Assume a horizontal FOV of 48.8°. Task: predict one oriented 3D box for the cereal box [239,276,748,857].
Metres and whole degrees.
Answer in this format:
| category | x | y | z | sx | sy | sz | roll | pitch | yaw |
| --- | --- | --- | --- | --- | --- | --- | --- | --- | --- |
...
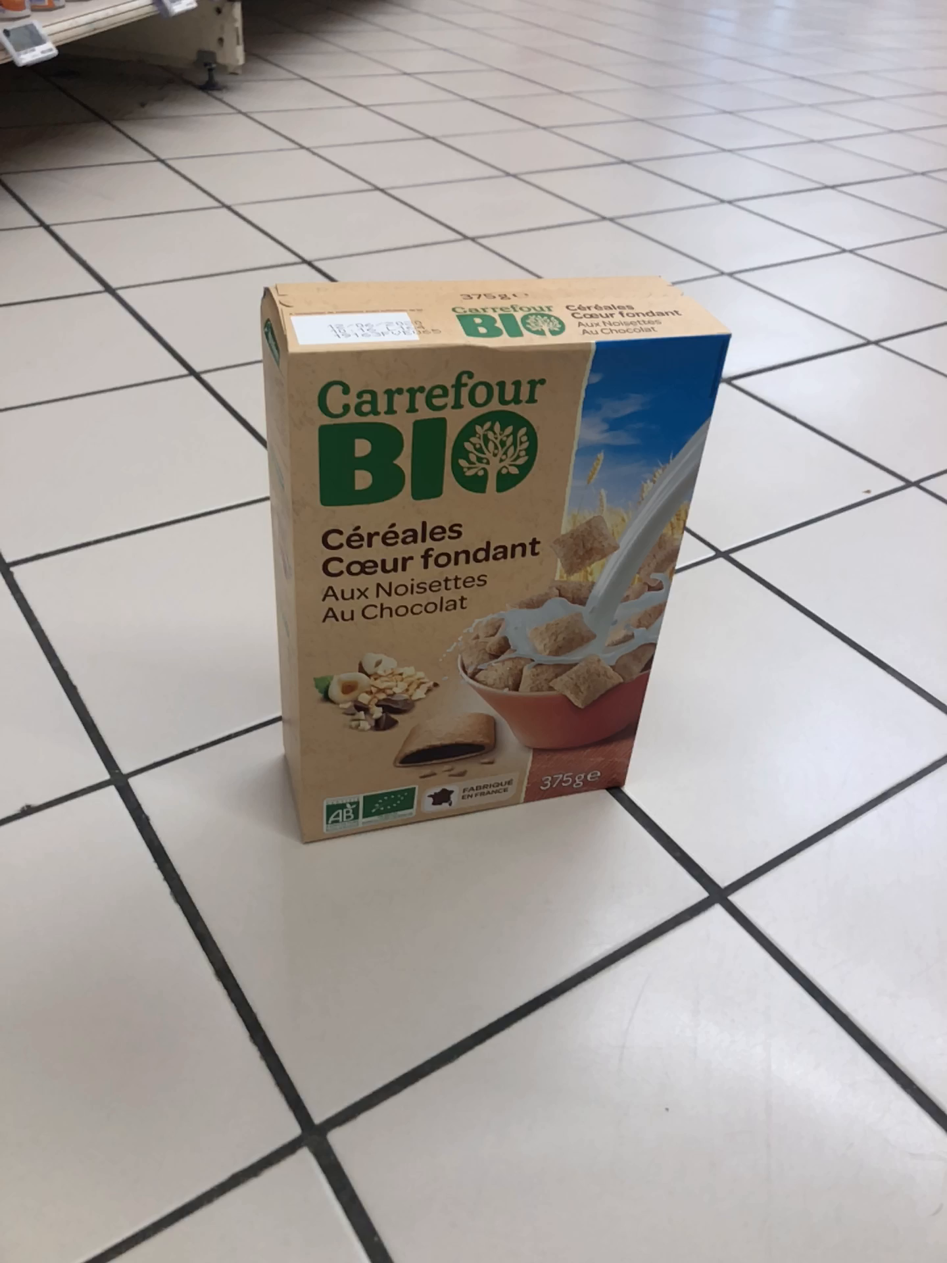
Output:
| category | x | y | z | sx | sy | sz | roll | pitch | yaw |
| --- | --- | --- | --- | --- | --- | --- | --- | --- | --- |
| cereal box | -0.002 | -0.023 | 0.443 | 0.170 | 0.229 | 0.070 | -7 | 39 | -16 |
